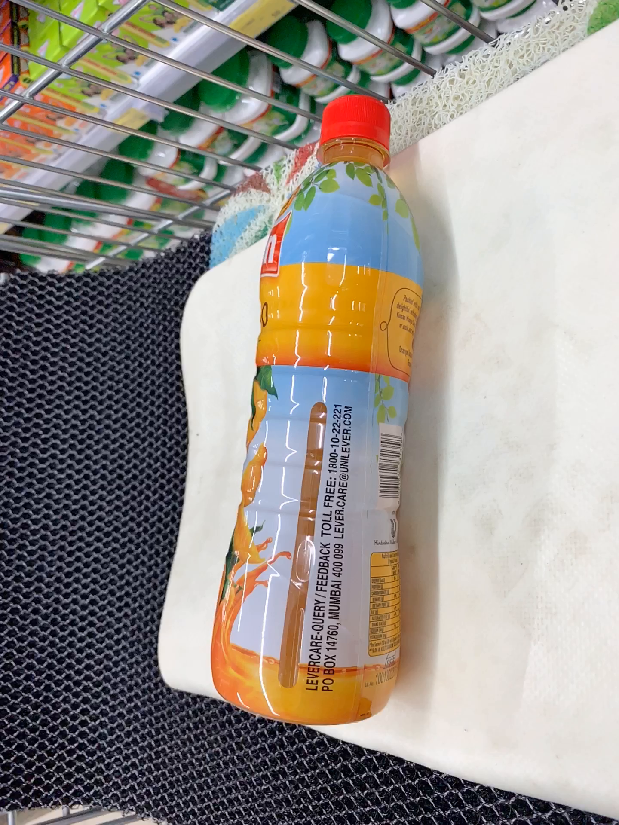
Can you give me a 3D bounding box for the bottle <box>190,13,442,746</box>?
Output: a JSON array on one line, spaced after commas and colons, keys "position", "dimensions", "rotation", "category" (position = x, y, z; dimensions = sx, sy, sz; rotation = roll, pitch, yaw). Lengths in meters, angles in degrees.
[{"position": [0.008, -0.011, 0.245], "dimensions": [0.080, 0.070, 0.230], "rotation": [0, 88, 15], "category": "bottle"}]
